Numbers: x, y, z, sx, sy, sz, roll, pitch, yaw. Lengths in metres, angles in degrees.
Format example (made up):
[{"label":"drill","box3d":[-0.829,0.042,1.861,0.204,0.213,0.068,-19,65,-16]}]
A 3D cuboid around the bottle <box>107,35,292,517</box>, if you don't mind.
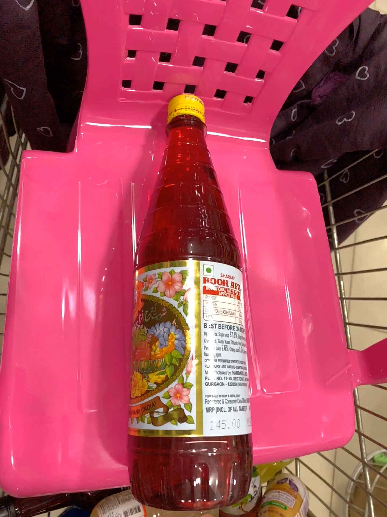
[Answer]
[{"label":"bottle","box3d":[0.005,0.011,0.244,0.080,0.060,0.260,9,75,-32]}]
